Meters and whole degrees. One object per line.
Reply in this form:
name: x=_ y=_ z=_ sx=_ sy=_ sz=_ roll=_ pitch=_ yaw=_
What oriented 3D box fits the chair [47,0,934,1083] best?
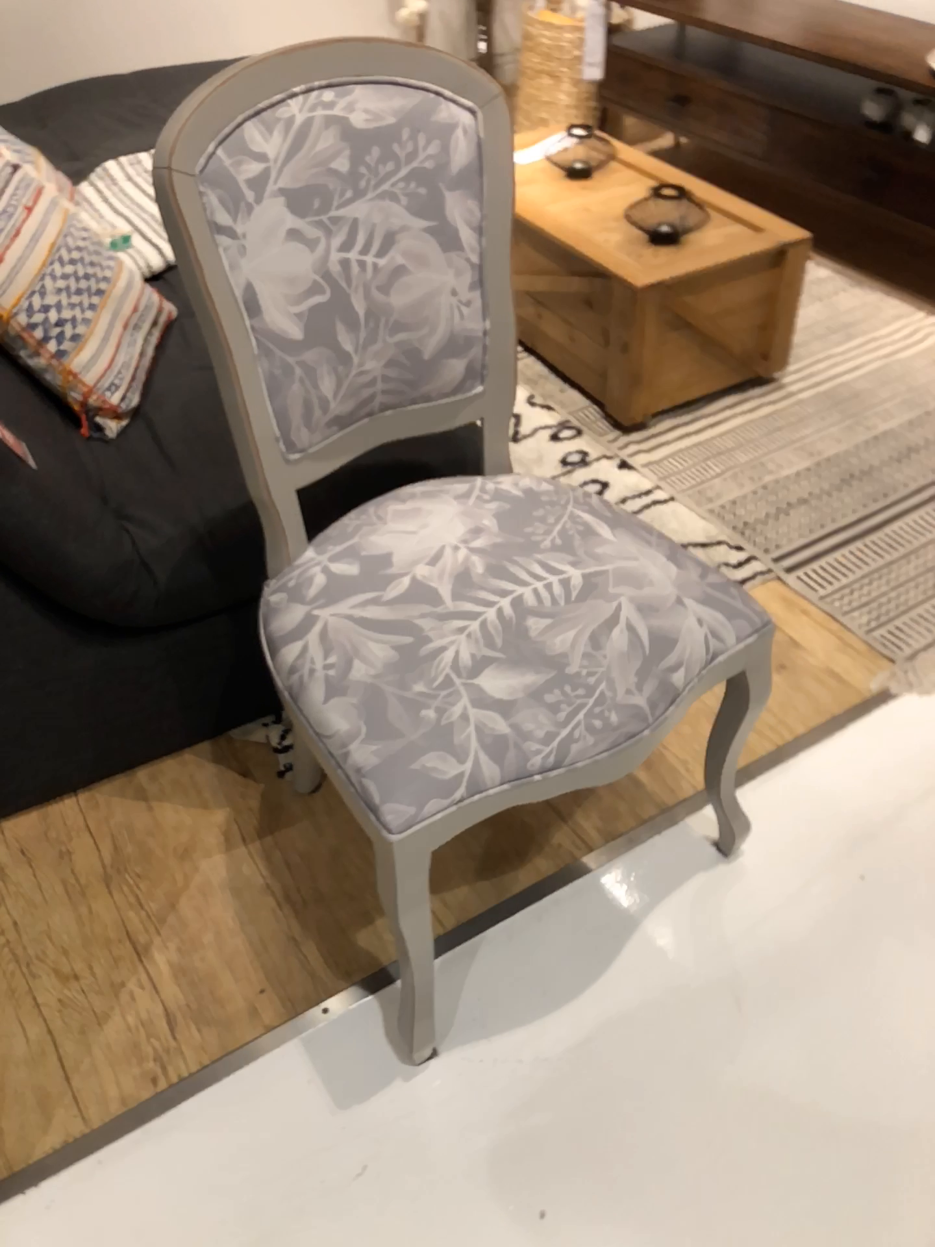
chair: x=0.031 y=-0.074 z=1.156 sx=0.571 sy=0.943 sz=0.533 roll=-24 pitch=47 yaw=-22
